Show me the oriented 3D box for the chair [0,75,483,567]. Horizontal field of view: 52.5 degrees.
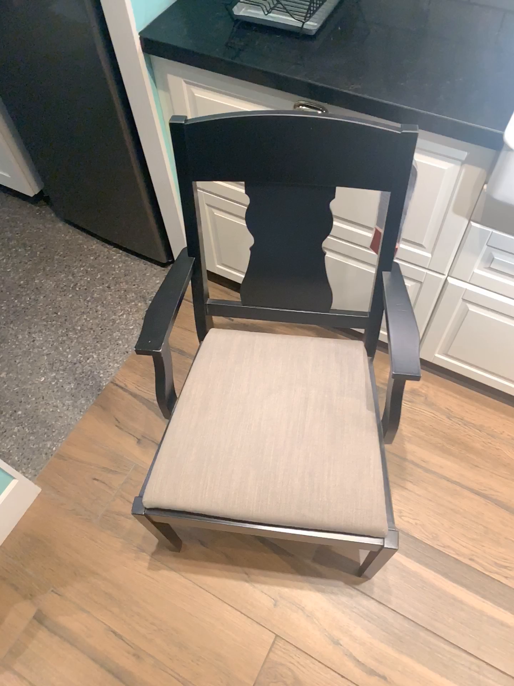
[{"bbox_3d":[0.016,0.043,1.099,0.570,0.888,0.591,5,59,7],"label":"chair"}]
